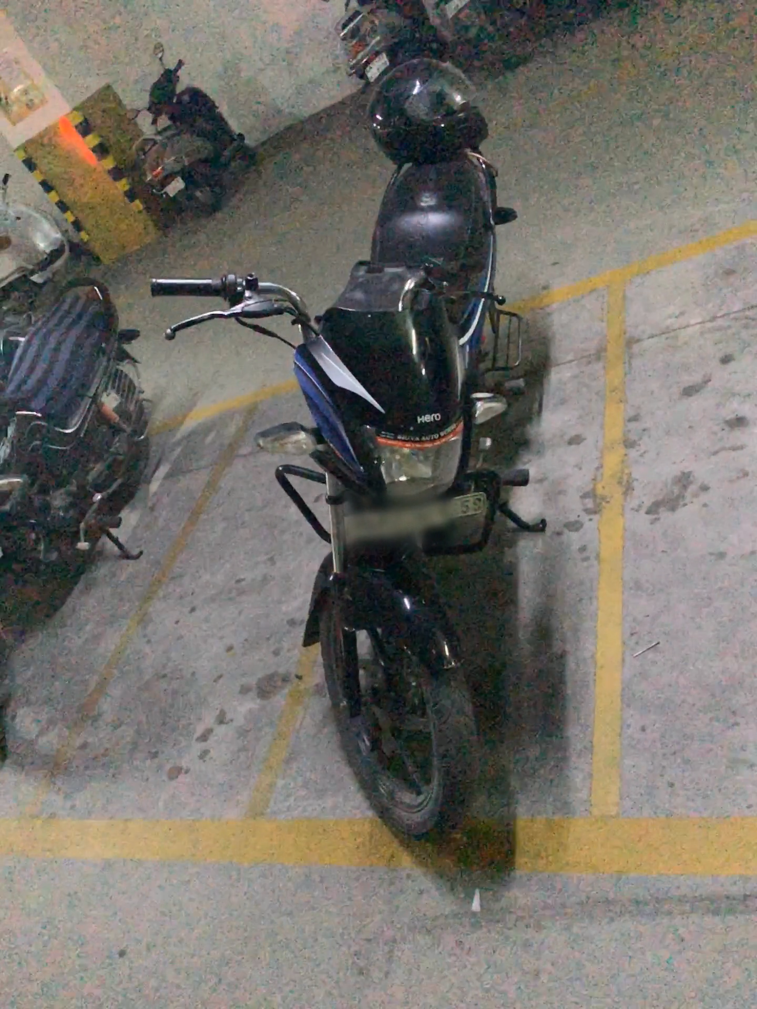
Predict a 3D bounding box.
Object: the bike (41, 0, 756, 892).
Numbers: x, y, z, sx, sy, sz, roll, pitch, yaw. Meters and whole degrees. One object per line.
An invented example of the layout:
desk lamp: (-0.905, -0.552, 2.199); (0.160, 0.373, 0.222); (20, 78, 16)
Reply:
bike: (0.191, -0.239, 1.843); (0.768, 1.155, 1.723); (-17, 40, 24)
